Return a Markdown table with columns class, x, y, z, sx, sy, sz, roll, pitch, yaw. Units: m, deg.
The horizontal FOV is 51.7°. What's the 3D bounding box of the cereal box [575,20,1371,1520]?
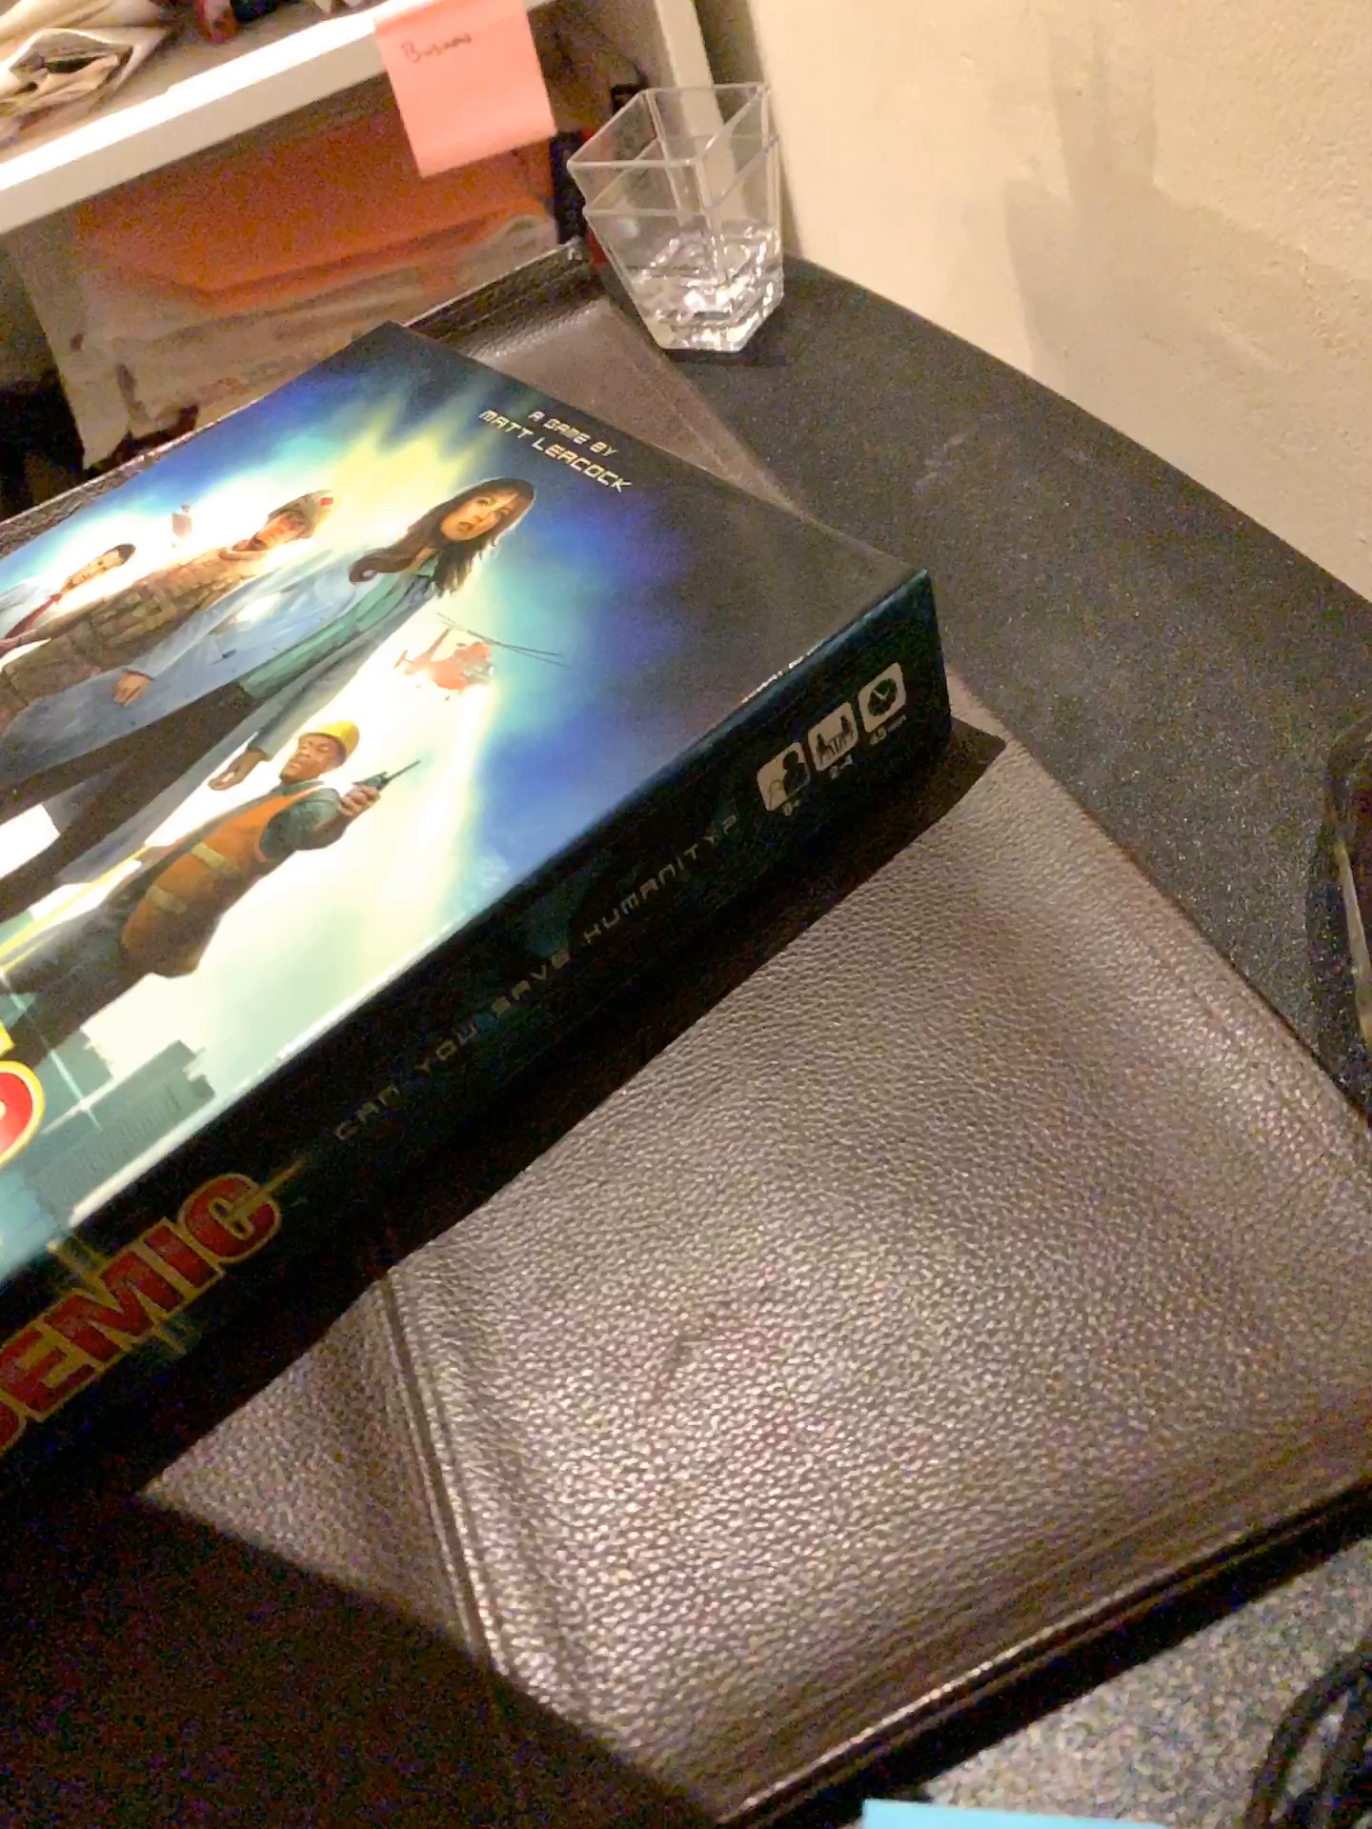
| class | x | y | z | sx | sy | sz | roll | pitch | yaw |
| --- | --- | --- | --- | --- | --- | --- | --- | --- | --- |
| cereal box | 0.379 | -0.012 | 1.110 | 0.472 | 0.993 | 0.512 | 7 | 53 | 26 |
